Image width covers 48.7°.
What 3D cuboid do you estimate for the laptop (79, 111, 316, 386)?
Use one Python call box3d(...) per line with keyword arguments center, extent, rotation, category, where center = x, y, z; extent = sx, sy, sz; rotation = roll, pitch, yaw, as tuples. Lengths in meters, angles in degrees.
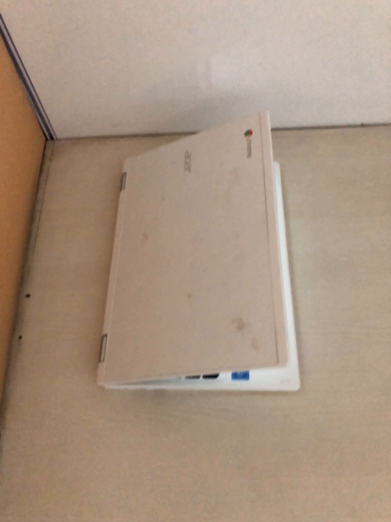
box3d(center=(0.005, -0.020, 0.470), extent=(0.200, 0.092, 0.284), rotation=(-1, 62, 4), category="laptop")
